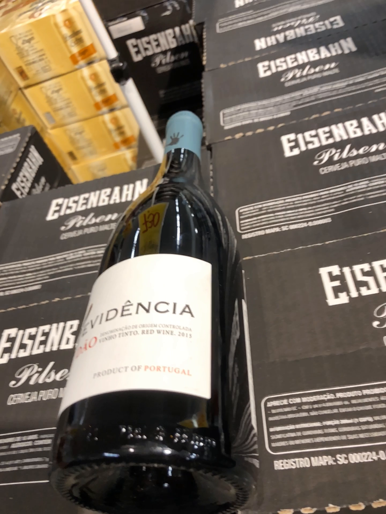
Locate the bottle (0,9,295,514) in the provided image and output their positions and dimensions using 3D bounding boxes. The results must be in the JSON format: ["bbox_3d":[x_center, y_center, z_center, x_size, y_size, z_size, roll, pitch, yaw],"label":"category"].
[{"bbox_3d":[-0.017,-0.032,0.272,0.100,0.089,0.332,-11,47,14],"label":"bottle"}]
